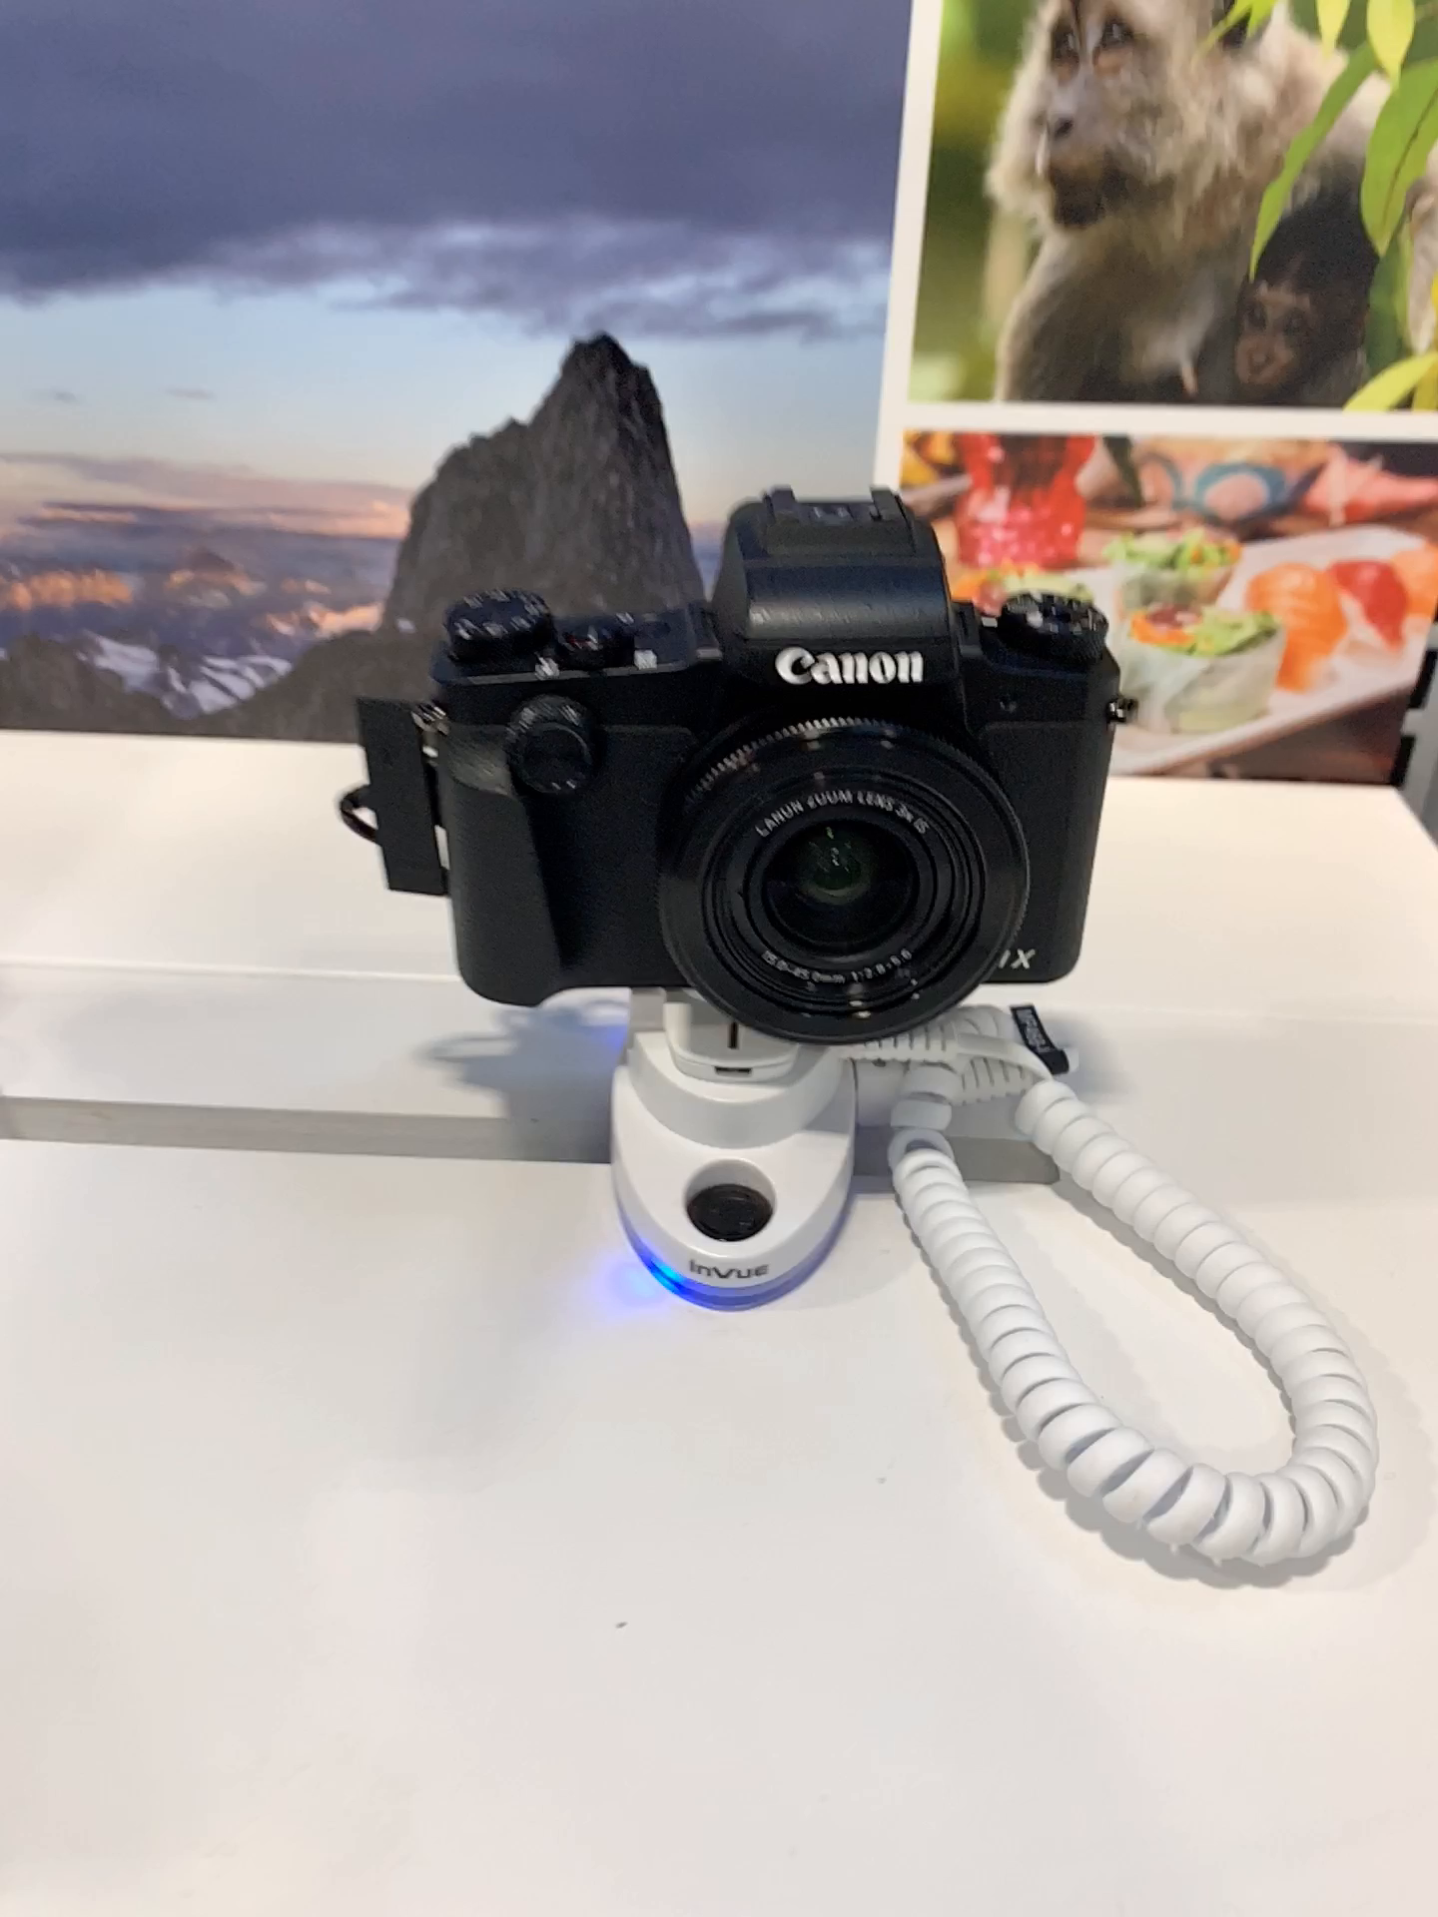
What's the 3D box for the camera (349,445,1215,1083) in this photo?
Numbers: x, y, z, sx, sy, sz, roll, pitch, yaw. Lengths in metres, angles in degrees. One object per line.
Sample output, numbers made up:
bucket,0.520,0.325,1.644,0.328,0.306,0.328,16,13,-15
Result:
camera,0.007,-0.034,0.255,0.120,0.089,0.060,-1,31,-3
